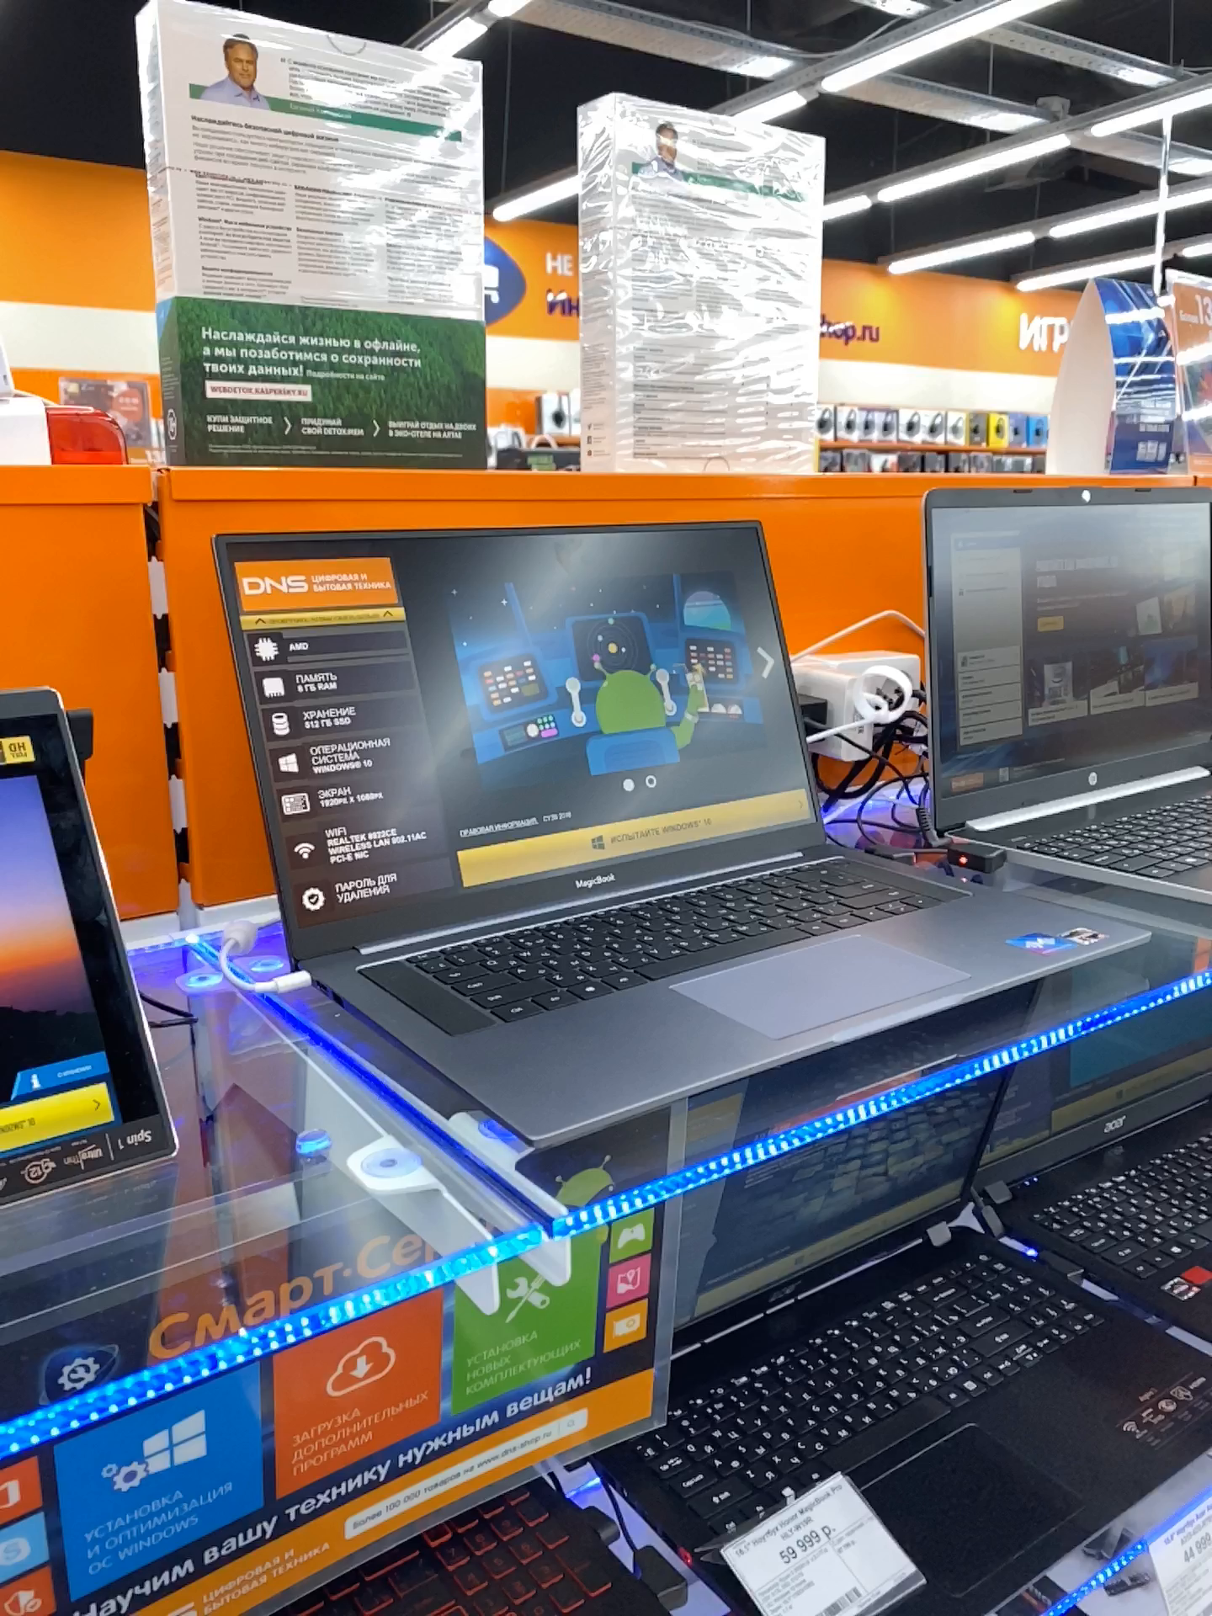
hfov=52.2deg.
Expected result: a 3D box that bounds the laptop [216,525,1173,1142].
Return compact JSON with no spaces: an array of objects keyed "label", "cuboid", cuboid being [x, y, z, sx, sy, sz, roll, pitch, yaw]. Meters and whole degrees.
[{"label":"laptop","cuboid":[0.036,-0.038,0.644,0.368,0.207,0.315,-9,15,-33]}]
